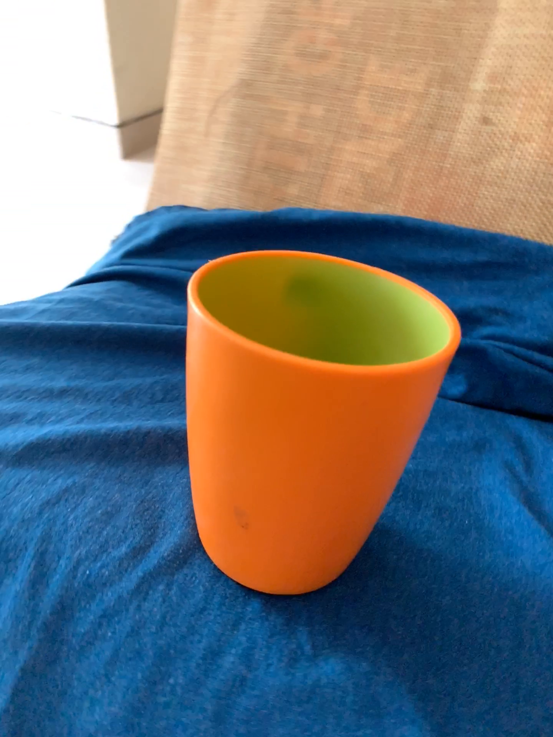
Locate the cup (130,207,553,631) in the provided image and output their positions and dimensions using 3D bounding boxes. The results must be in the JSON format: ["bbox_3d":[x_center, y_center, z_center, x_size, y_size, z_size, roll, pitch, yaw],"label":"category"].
[{"bbox_3d":[0.007,0.006,0.209,0.100,0.089,0.121,2,27,-21],"label":"cup"}]
